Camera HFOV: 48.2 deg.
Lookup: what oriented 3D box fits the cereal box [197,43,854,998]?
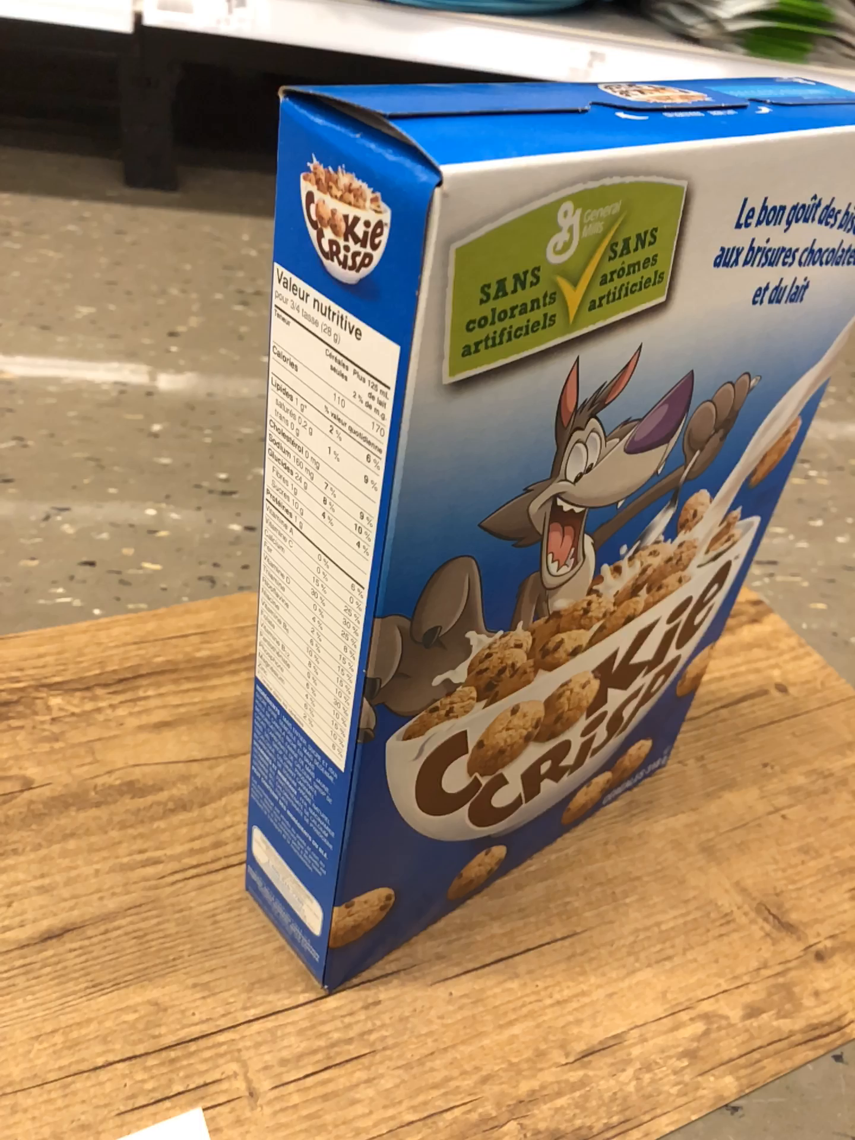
[{"bbox_3d":[0.032,-0.012,0.307,0.200,0.269,0.060,-22,48,-35],"label":"cereal box"}]
